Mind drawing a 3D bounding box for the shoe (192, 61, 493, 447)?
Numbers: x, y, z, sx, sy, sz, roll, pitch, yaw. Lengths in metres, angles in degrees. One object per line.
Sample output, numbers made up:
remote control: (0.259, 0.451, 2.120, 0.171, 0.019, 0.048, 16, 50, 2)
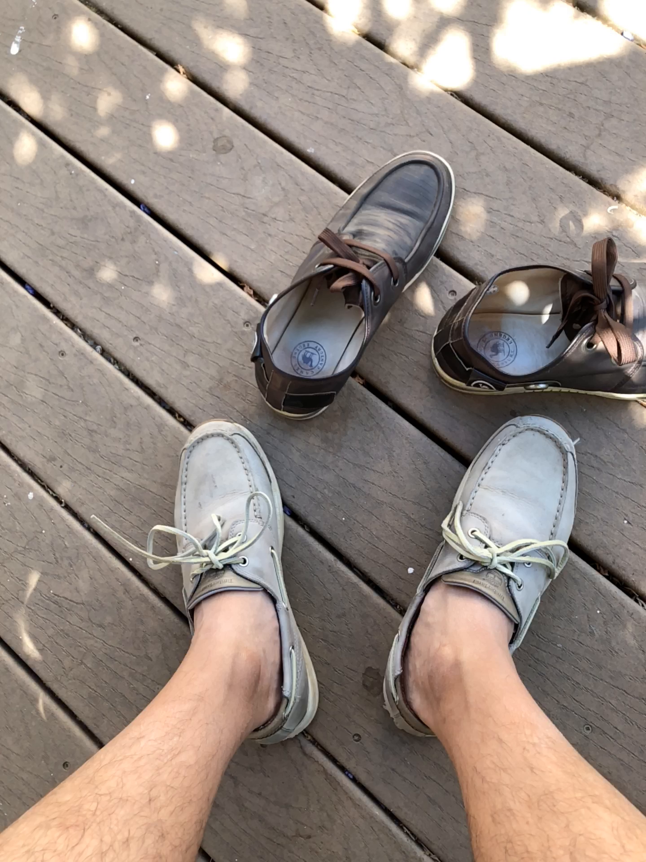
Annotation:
shoe: (0.024, -0.150, 0.643, 0.110, 0.111, 0.303, 31, 88, 12)

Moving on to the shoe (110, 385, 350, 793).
shoe: (-0.078, 0.129, 0.627, 0.110, 0.111, 0.303, -17, 80, 7)

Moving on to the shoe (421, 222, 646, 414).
shoe: (0.239, -0.085, 0.594, 0.303, 0.111, 0.110, -3, 82, 9)

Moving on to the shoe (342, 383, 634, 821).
shoe: (0.133, 0.130, 0.590, 0.110, 0.111, 0.303, 22, 86, 12)
